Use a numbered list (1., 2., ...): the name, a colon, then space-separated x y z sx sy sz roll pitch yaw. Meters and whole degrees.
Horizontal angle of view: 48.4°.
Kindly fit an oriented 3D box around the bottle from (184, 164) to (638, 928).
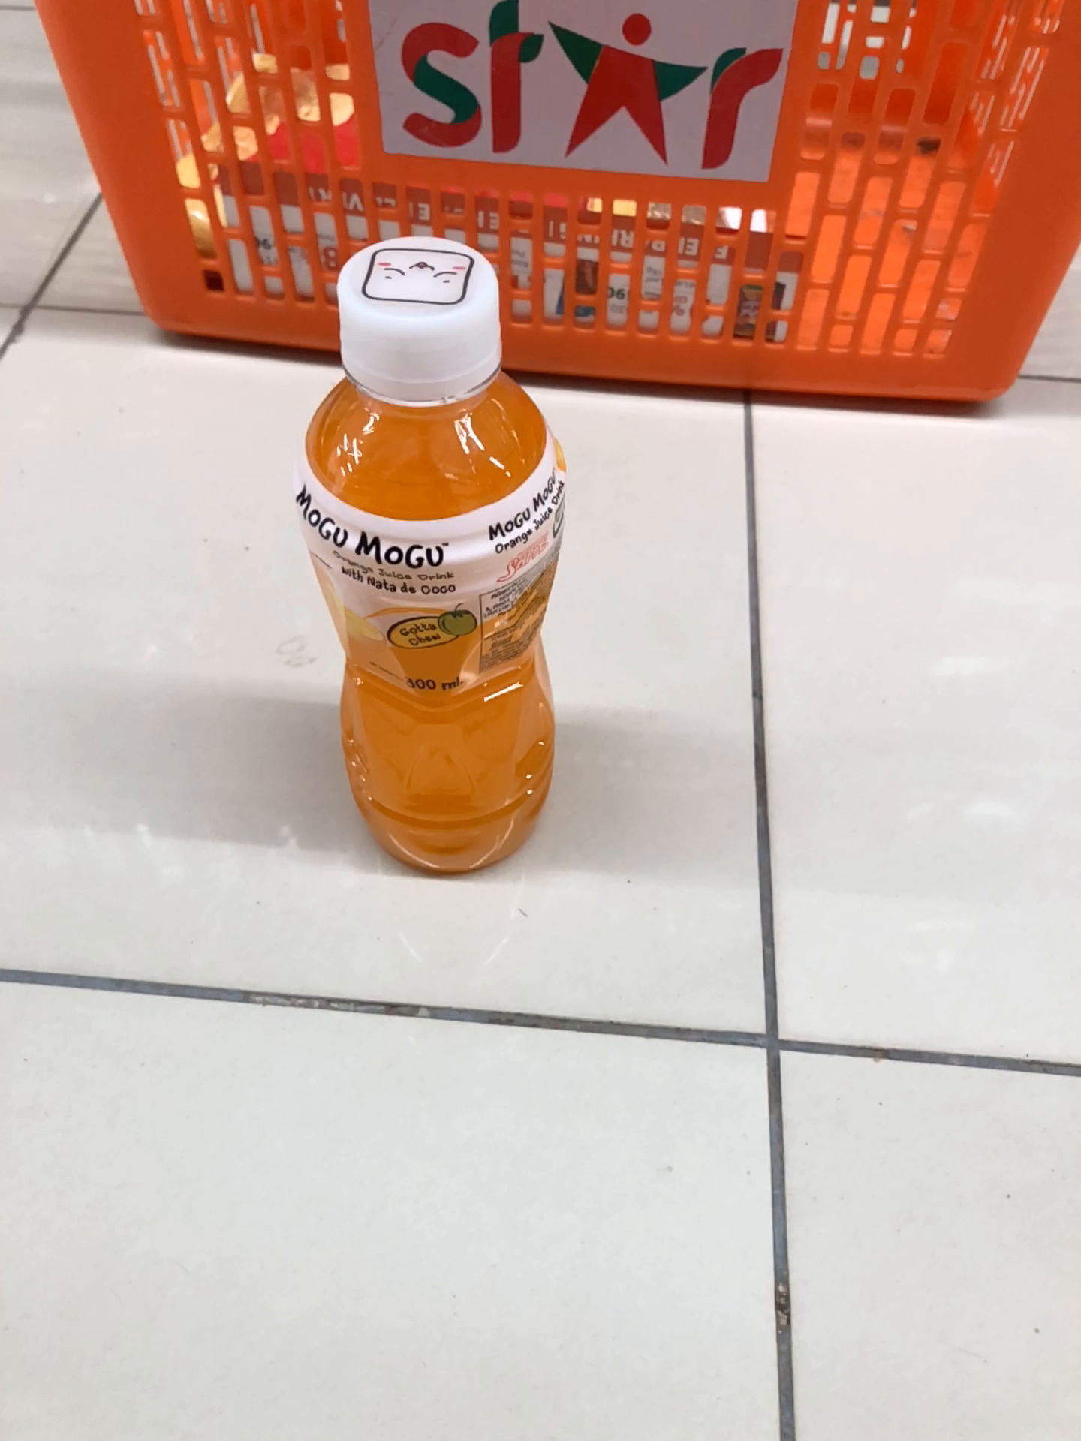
1. bottle: -0.021 -0.028 0.274 0.060 0.159 0.066 1 51 -1
